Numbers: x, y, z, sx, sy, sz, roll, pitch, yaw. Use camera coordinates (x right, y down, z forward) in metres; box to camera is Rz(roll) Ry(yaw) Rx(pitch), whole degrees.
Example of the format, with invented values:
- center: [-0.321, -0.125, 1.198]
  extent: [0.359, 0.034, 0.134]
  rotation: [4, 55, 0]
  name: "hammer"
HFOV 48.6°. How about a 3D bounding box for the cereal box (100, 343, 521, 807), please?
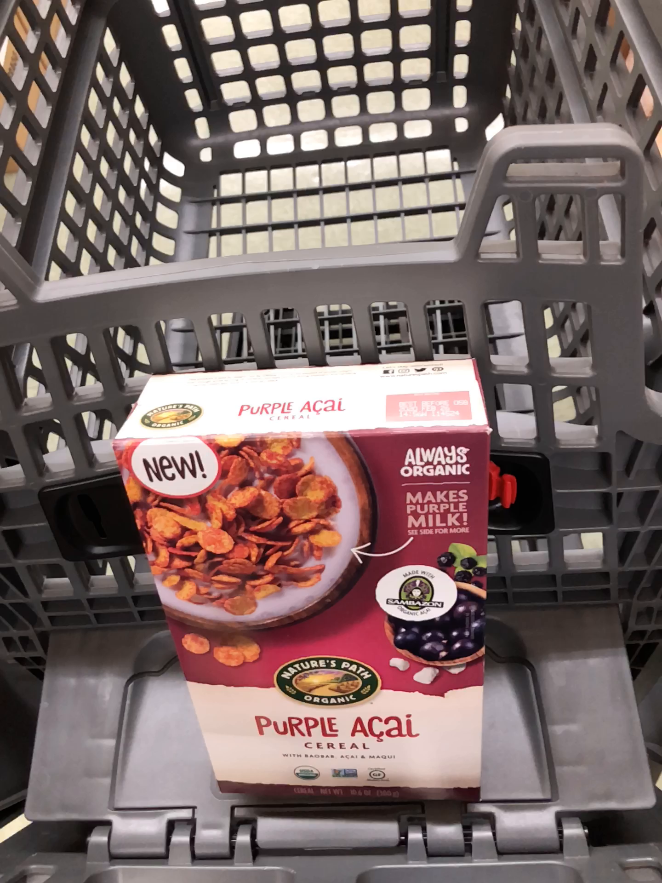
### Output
- center: [0.003, 0.089, 0.397]
  extent: [0.170, 0.270, 0.070]
  rotation: [-2, 34, 5]
  name: "cereal box"
